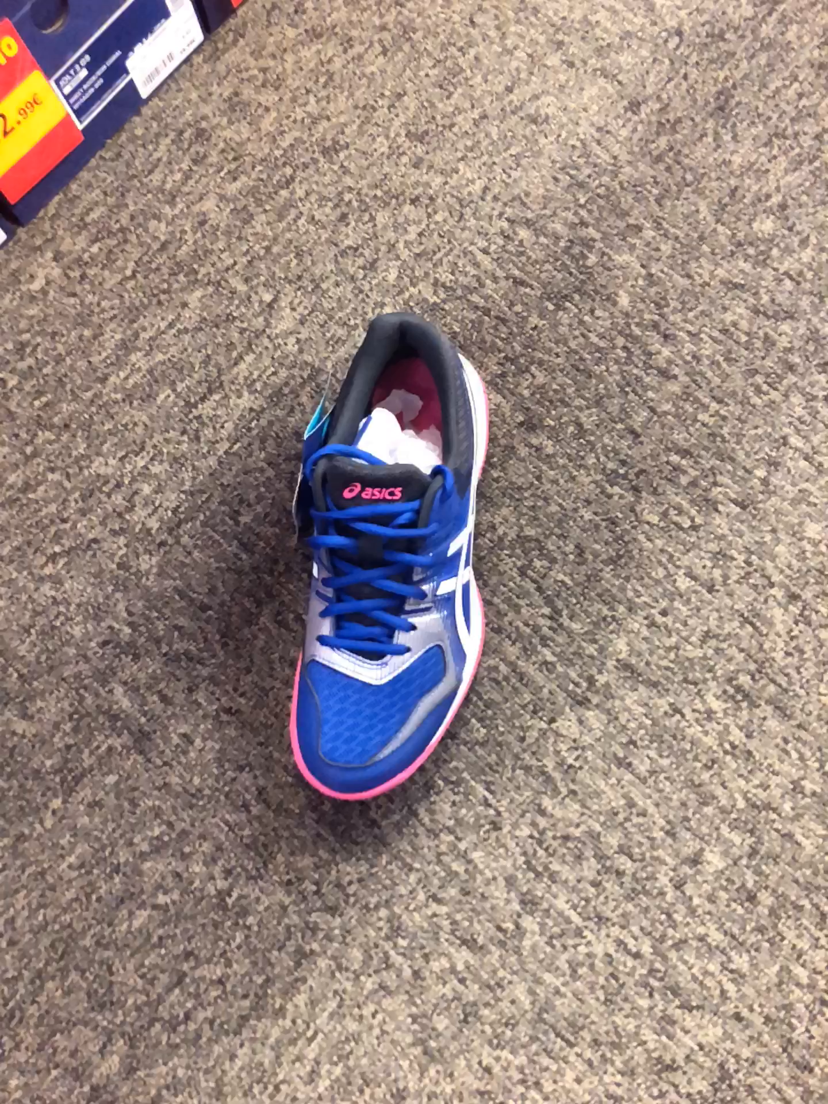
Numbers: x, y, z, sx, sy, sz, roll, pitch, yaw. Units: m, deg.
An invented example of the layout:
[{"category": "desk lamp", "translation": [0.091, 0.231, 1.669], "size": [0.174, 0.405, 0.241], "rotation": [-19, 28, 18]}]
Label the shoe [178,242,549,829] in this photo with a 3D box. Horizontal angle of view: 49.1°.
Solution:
[{"category": "shoe", "translation": [-0.015, -0.008, 0.476], "size": [0.125, 0.100, 0.270], "rotation": [9, 77, 7]}]
